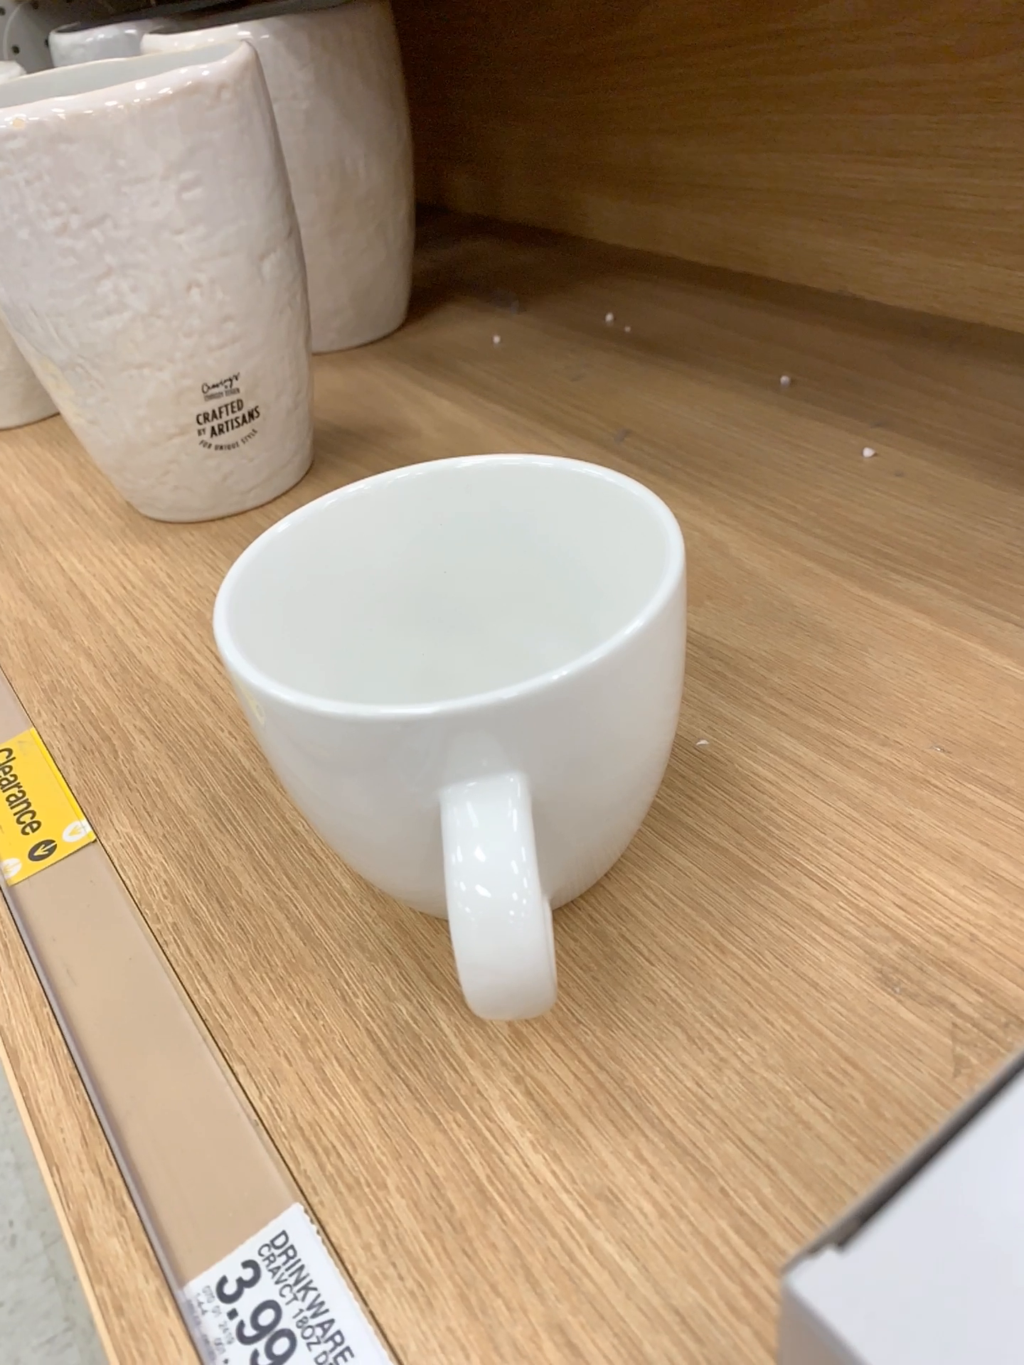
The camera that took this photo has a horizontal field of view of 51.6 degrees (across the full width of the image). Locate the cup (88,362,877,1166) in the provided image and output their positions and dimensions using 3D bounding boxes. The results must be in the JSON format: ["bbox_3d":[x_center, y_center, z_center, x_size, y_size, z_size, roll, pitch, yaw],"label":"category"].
[{"bbox_3d":[-0.006,0.005,0.225,0.110,0.080,0.141,-11,37,0],"label":"cup"}]
